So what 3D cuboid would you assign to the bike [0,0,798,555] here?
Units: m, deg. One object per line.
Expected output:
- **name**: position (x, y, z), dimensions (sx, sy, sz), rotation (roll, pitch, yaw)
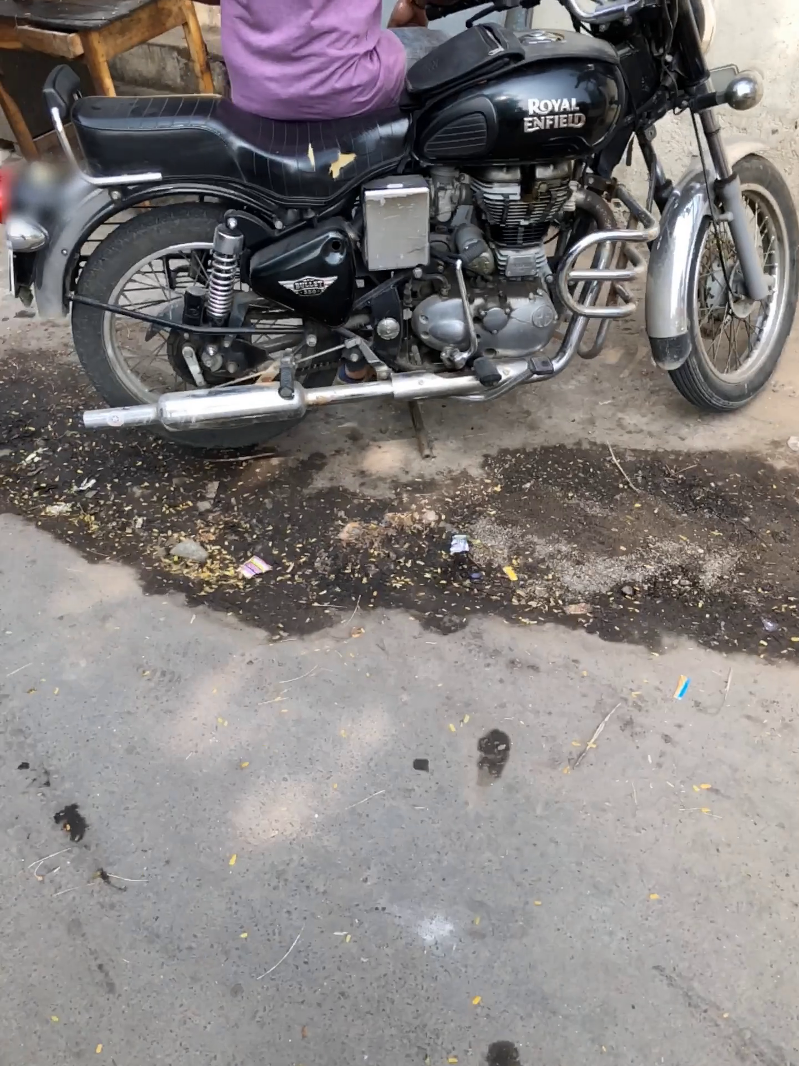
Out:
- **bike**: position (0.135, -0.871, 2.177), dimensions (1.921, 1.173, 0.843), rotation (-11, 41, -6)
